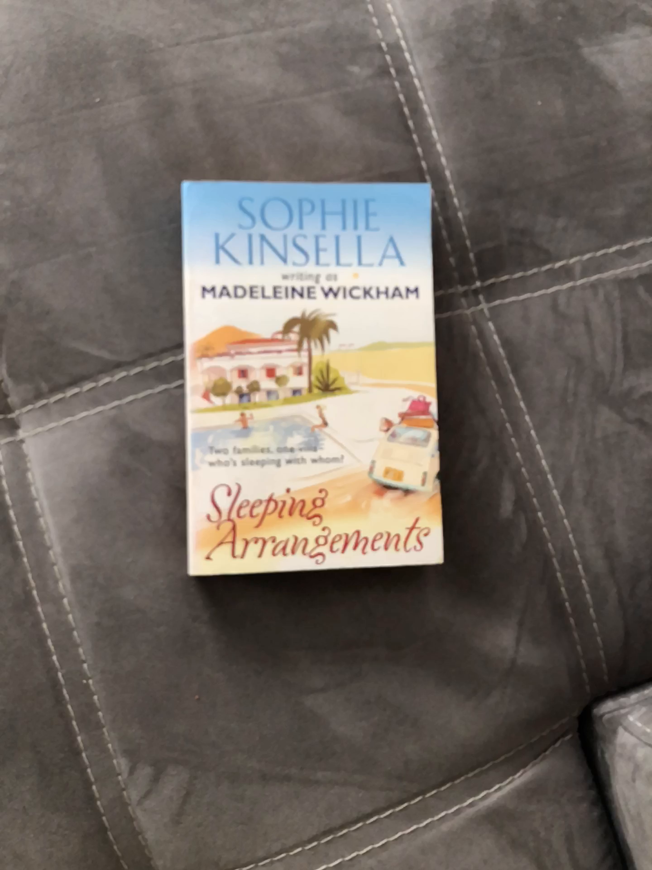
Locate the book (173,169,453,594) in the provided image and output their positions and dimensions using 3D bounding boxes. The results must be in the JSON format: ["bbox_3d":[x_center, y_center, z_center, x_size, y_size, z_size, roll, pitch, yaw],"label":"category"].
[{"bbox_3d":[-0.008,-0.027,0.366,0.130,0.030,0.200,-1,87,-9],"label":"book"}]
